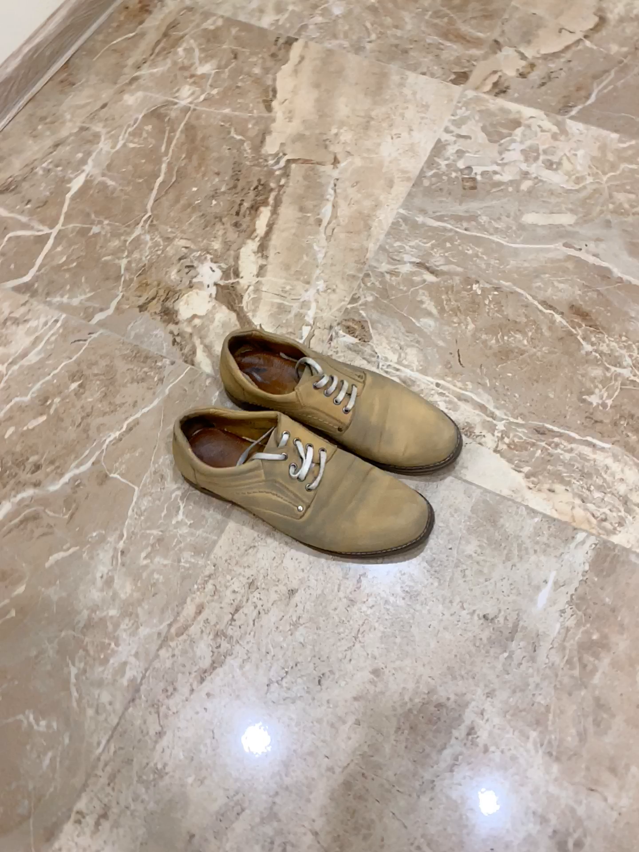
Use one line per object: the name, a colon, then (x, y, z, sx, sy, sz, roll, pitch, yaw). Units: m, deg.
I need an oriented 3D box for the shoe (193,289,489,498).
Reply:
shoe: (0.022, -0.037, 0.694, 0.280, 0.070, 0.110, 22, 67, 10)

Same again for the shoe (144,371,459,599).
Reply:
shoe: (-0.018, 0.058, 0.658, 0.280, 0.080, 0.110, 22, 67, 10)
